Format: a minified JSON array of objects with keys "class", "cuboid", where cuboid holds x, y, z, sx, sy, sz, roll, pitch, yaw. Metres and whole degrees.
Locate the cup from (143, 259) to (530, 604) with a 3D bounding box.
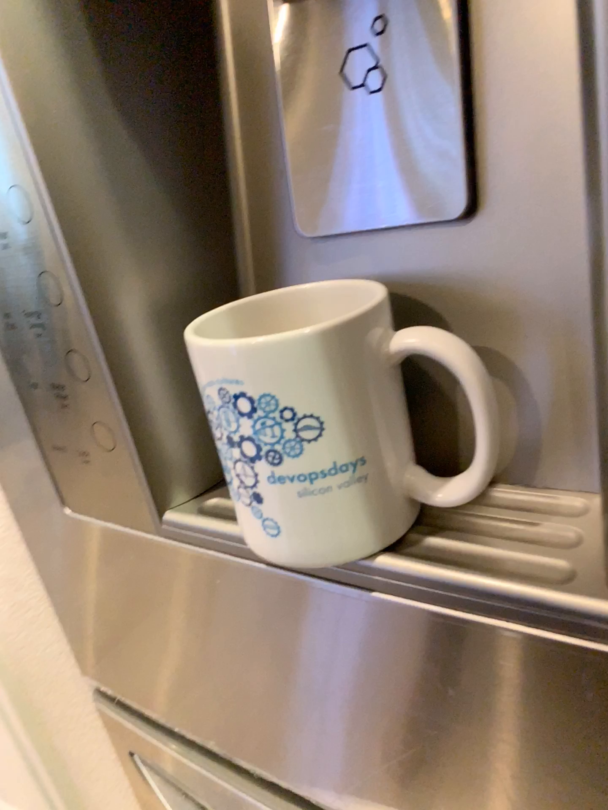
[{"class":"cup","cuboid":[0.020,0.006,0.257,0.120,0.099,0.080,0,25,29]}]
